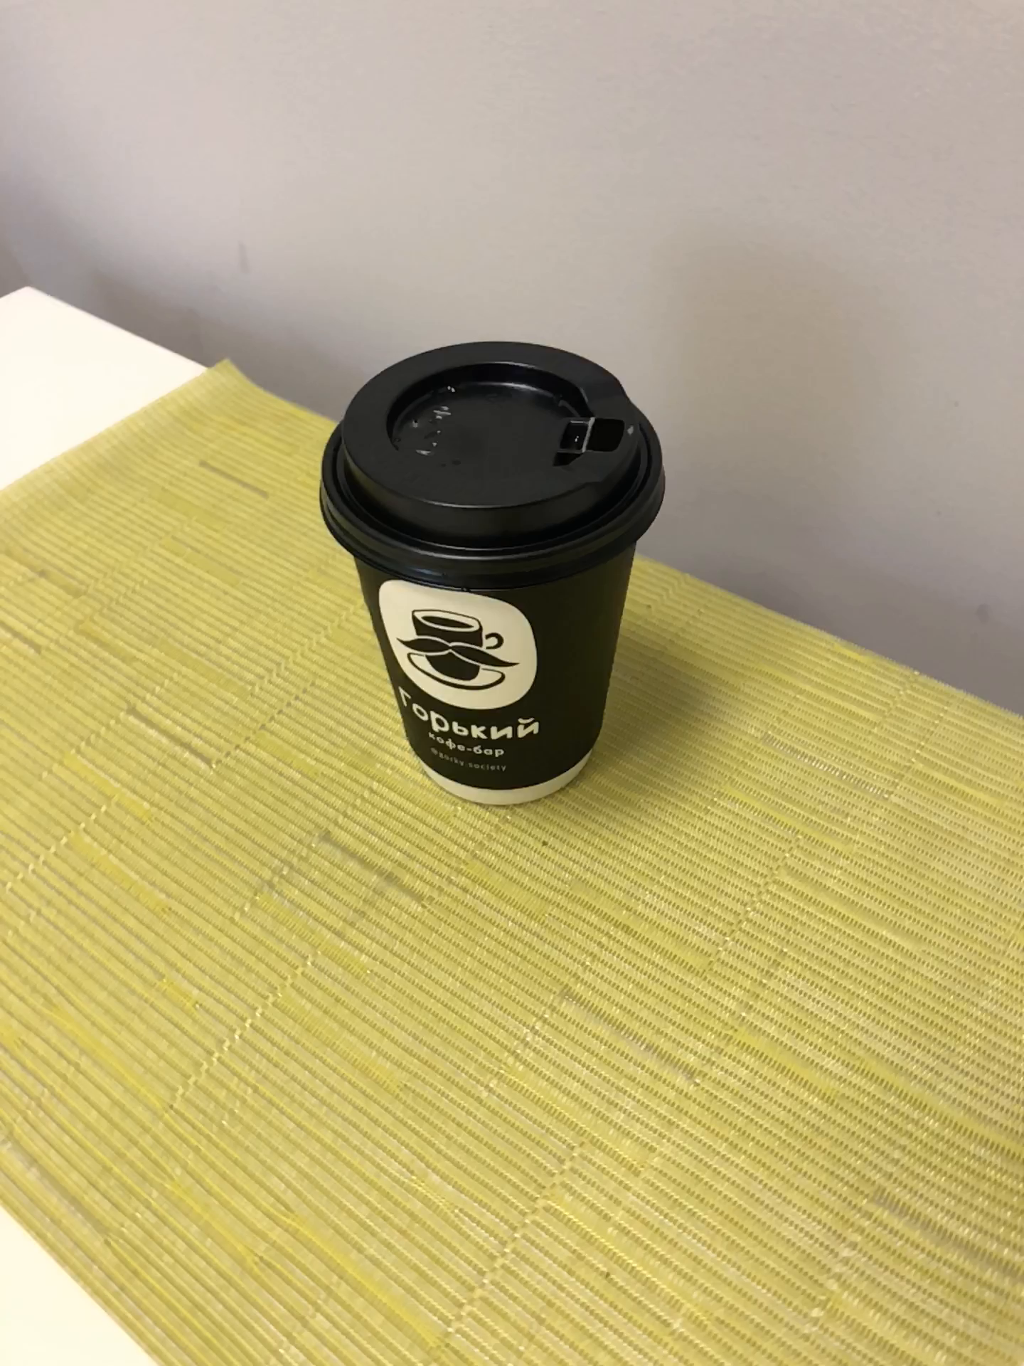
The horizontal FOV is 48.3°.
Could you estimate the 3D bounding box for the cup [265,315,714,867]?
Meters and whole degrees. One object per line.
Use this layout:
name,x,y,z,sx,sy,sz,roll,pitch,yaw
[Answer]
cup,-0.001,-0.028,0.345,0.092,0.119,0.090,-1,45,1
